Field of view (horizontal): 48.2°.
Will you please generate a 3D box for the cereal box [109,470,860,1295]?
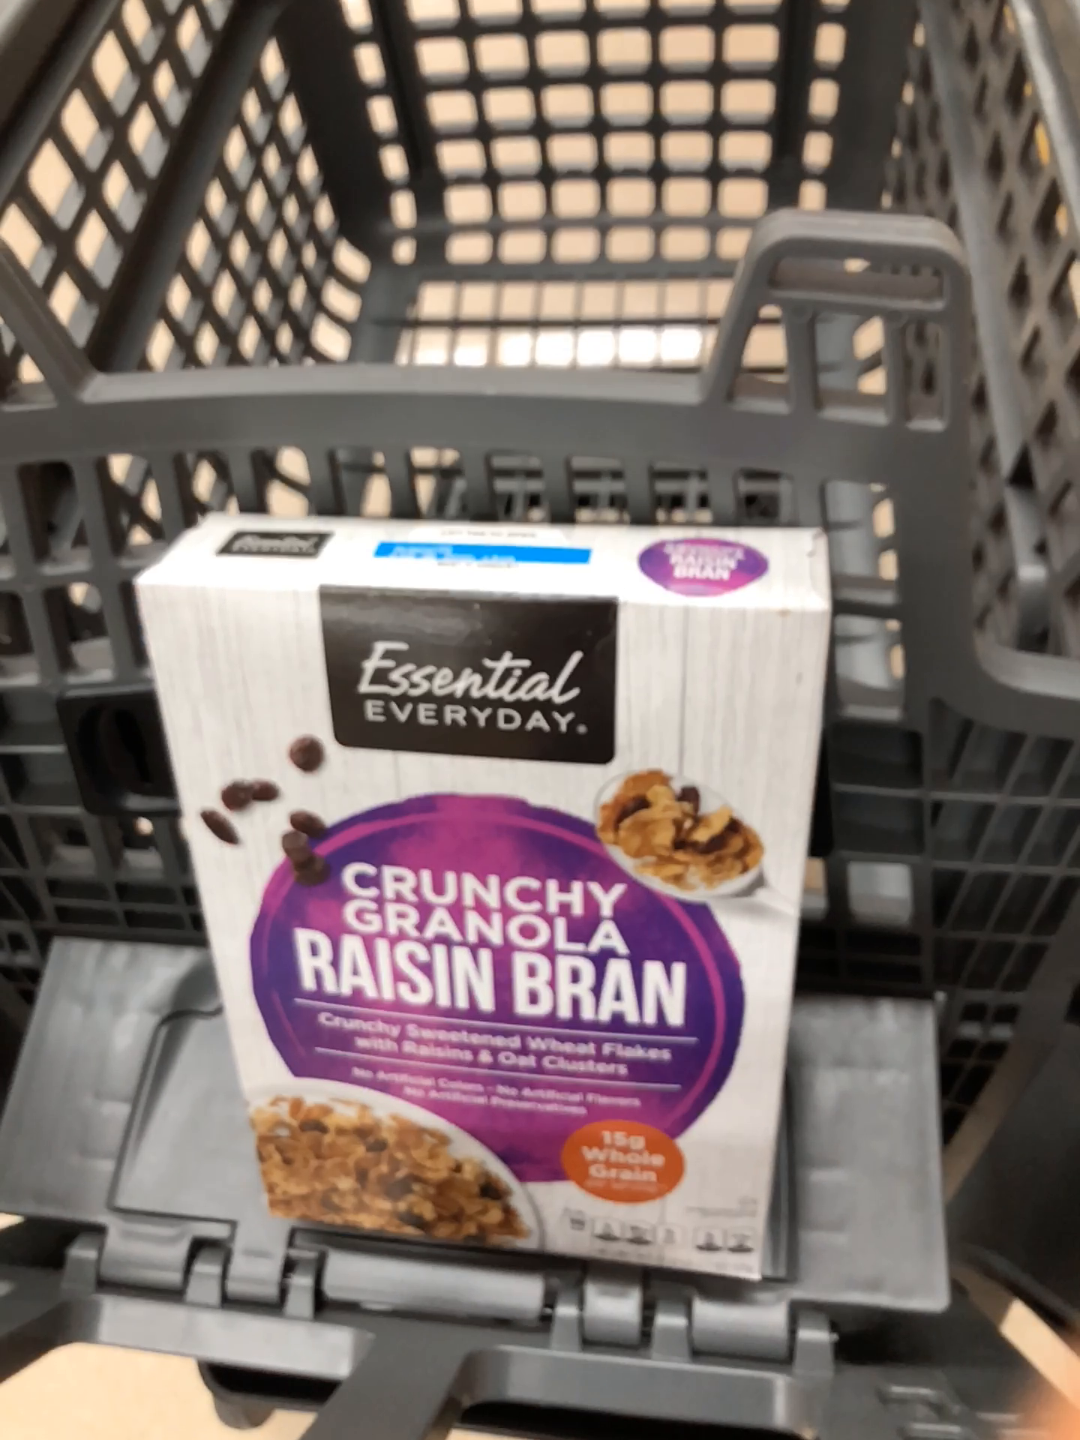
[{"bbox_3d":[-0.010,0.064,0.414,0.200,0.280,0.070,3,30,9],"label":"cereal box"}]
